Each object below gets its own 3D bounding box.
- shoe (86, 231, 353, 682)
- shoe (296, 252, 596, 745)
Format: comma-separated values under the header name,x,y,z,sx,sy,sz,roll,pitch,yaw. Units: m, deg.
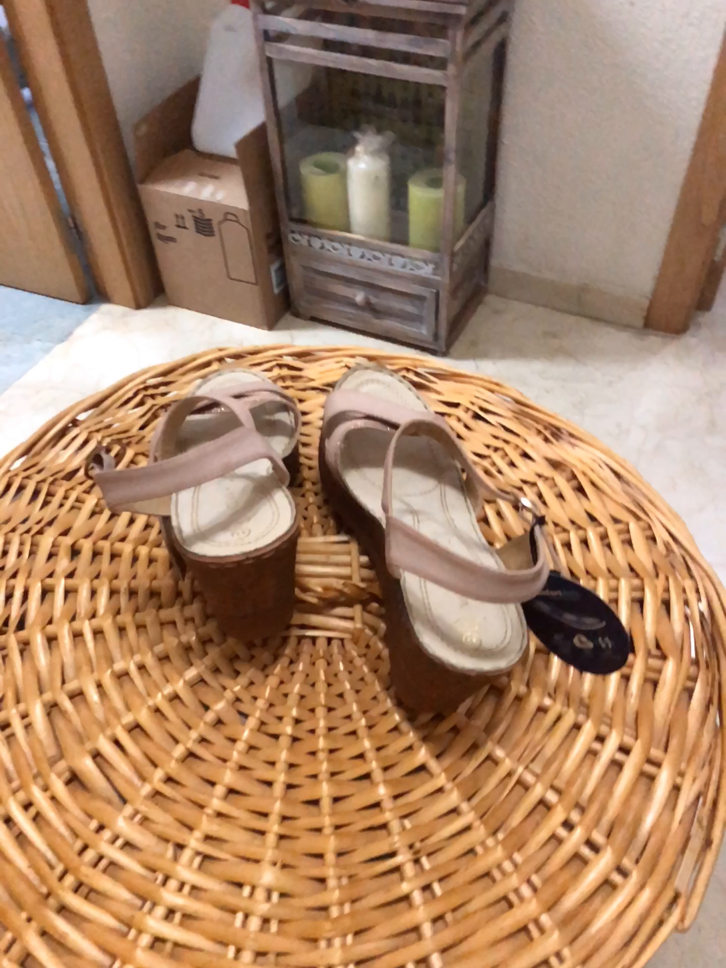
name,x,y,z,sx,sy,sz,roll,pitch,yaw
shoe,-0.087,-0.031,0.469,0.111,0.100,0.252,-10,48,-6
shoe,0.028,-0.008,0.446,0.100,0.104,0.261,-7,47,-4
